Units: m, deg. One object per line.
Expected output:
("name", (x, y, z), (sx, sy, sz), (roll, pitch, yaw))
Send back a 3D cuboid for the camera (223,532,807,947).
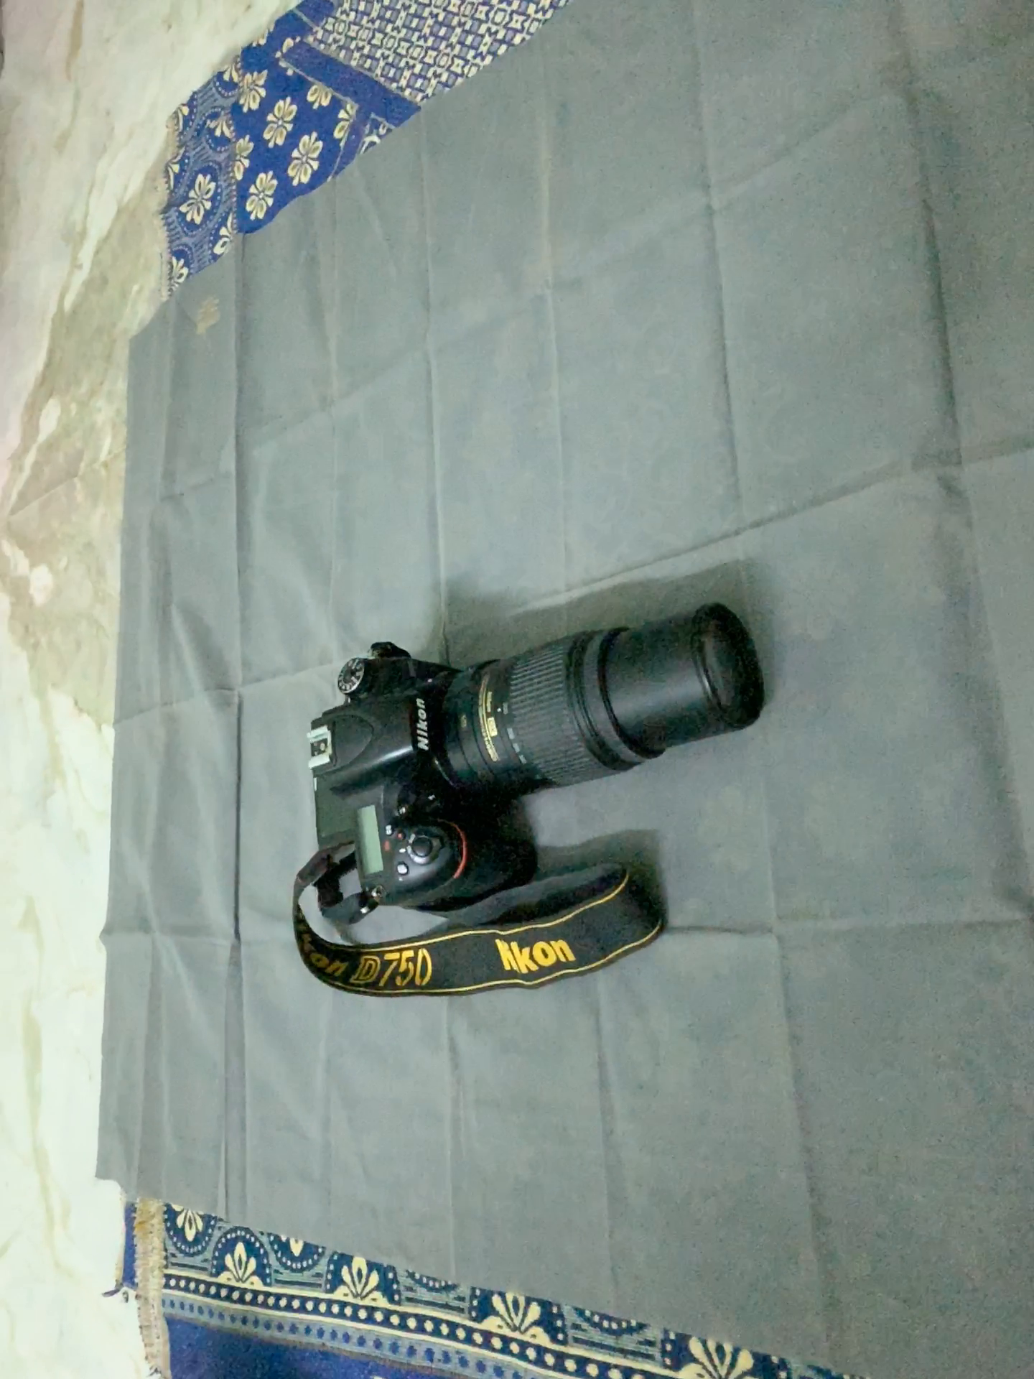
("camera", (-0.020, 0.045, 0.540), (0.289, 0.109, 0.147), (-16, 73, 40))
